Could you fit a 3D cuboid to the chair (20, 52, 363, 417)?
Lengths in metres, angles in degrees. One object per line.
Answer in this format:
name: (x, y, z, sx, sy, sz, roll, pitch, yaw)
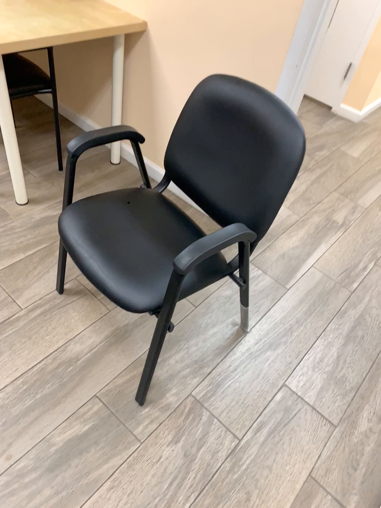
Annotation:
chair: (-0.056, -0.071, 1.230, 0.607, 0.817, 0.607, -25, 56, -32)
